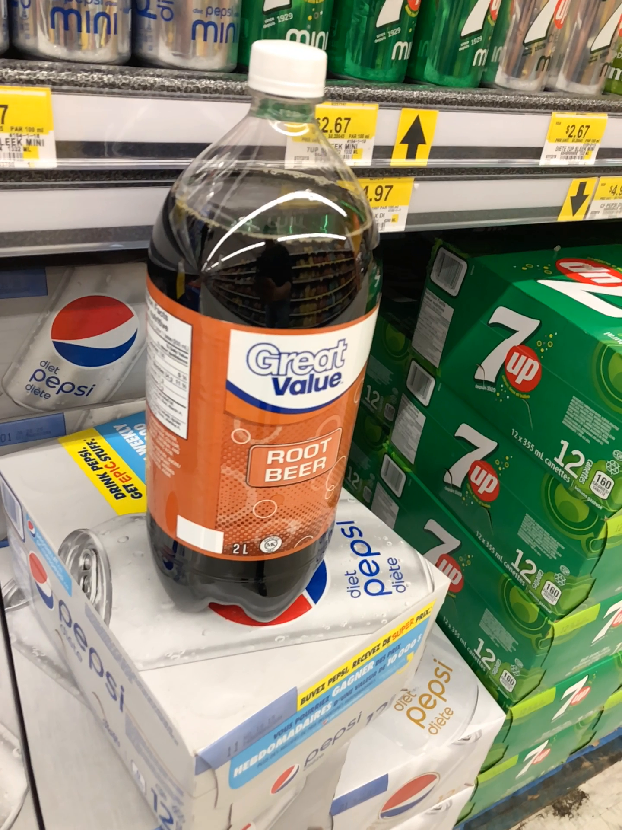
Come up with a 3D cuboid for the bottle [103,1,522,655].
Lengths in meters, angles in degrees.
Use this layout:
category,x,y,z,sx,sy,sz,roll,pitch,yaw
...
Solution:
category,x,y,z,sx,sy,sz,roll,pitch,yaw
bottle,-0.024,-0.032,0.333,0.120,0.268,0.121,7,35,-5
